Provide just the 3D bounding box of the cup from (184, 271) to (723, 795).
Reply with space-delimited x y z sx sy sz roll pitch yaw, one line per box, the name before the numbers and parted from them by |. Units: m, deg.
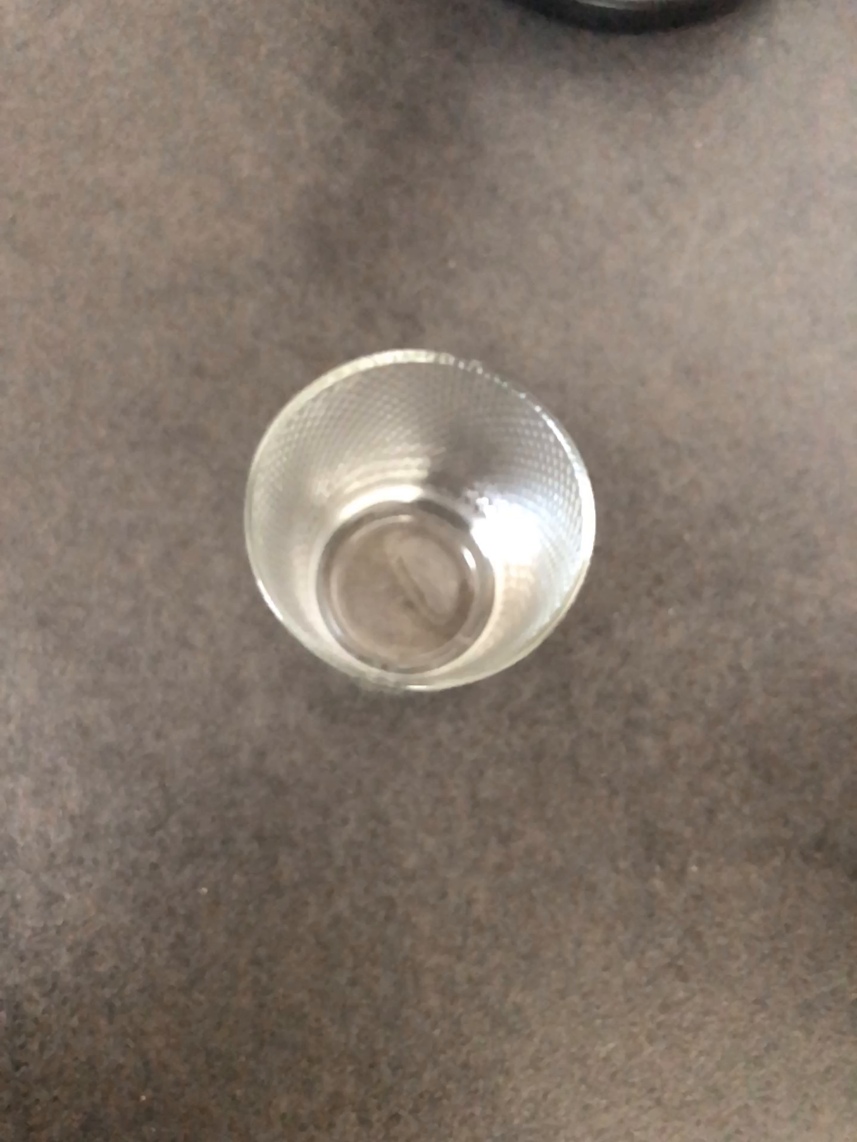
cup | 0.004 -0.002 0.246 0.080 0.090 0.080 1 77 -4
